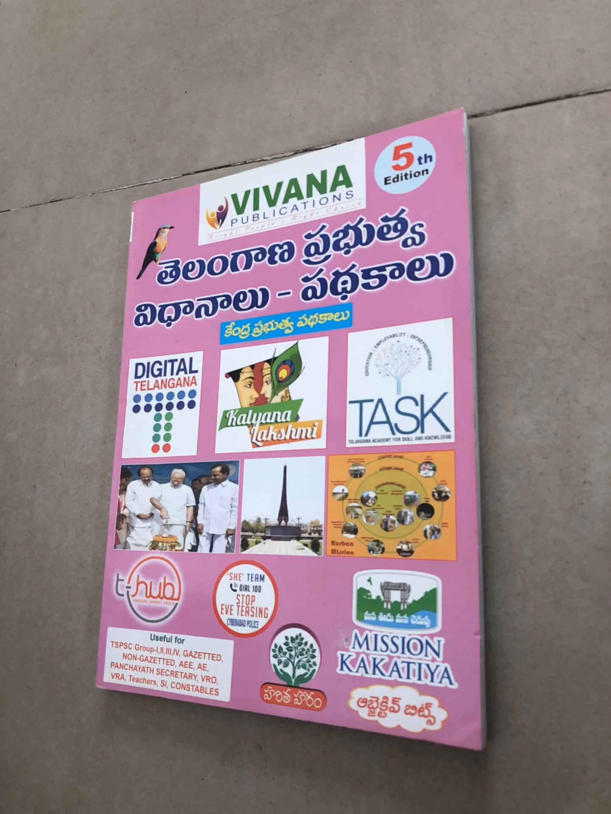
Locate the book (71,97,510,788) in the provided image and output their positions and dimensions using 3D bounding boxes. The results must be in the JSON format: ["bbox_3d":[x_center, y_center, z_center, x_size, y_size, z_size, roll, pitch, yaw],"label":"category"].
[{"bbox_3d":[-0.012,0.010,0.325,0.200,0.040,0.270,-4,77,28],"label":"book"}]
